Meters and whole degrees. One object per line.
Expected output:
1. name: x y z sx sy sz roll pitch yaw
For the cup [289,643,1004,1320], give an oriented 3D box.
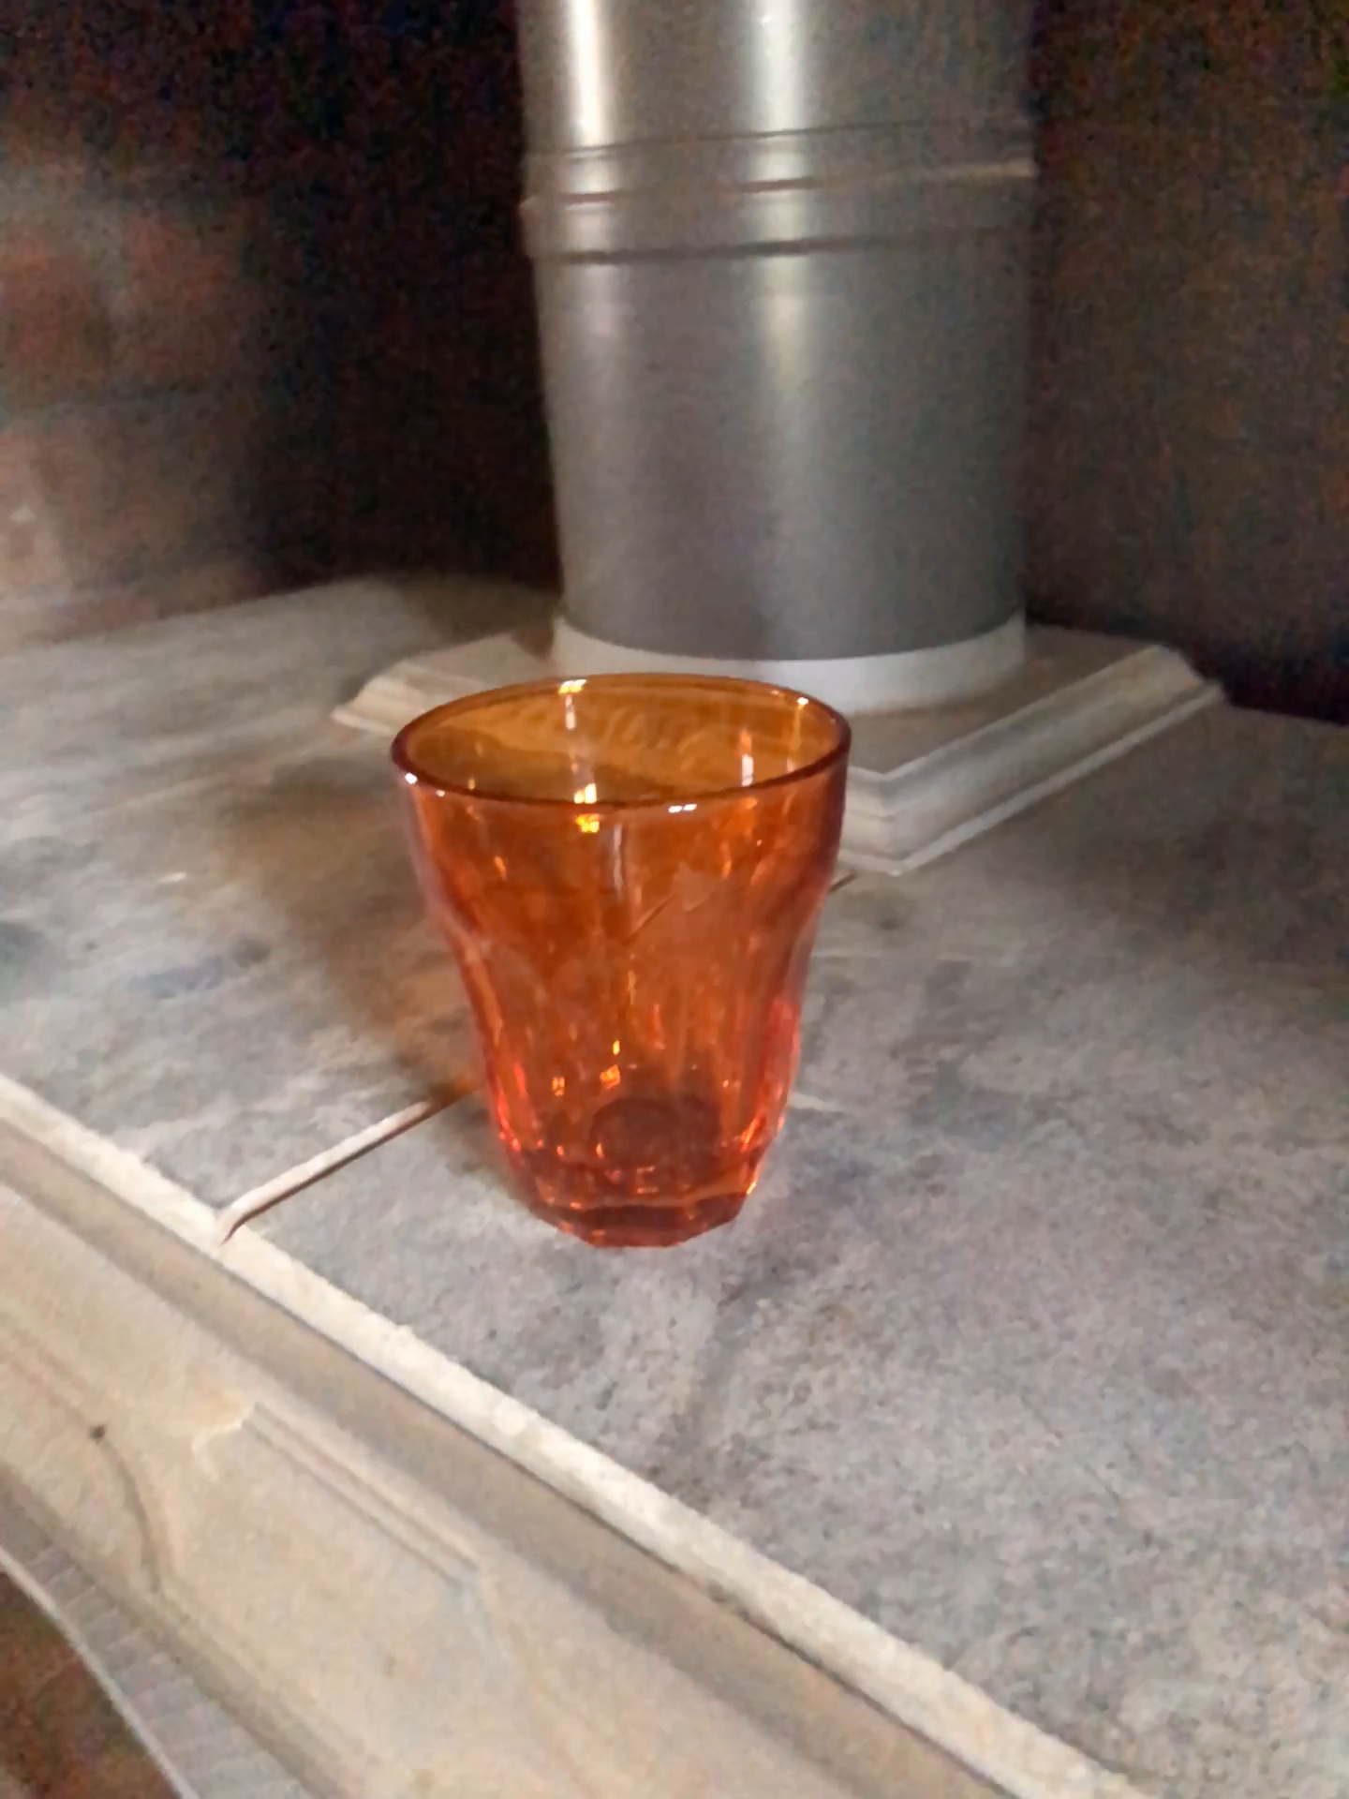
1. cup: -0.002 0.005 0.249 0.080 0.070 0.080 -2 23 1
